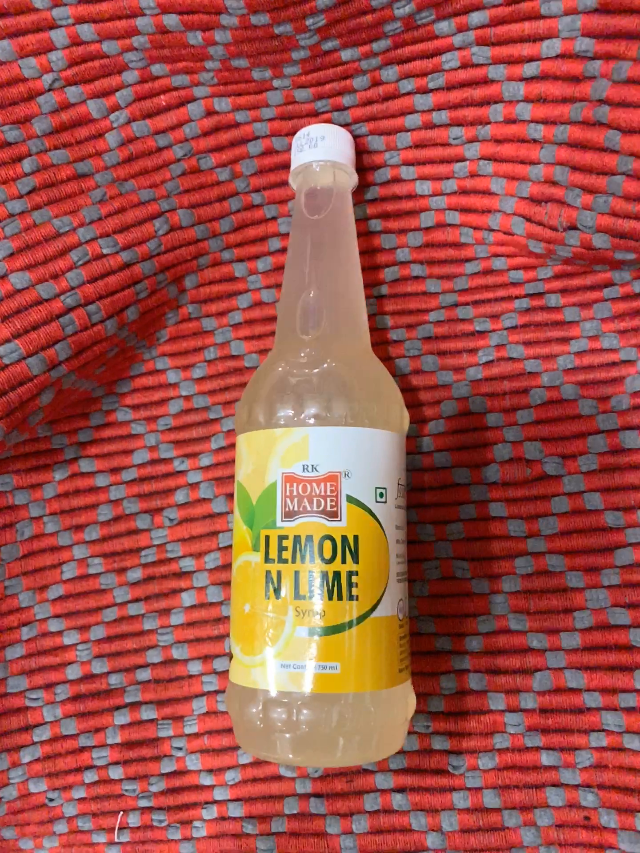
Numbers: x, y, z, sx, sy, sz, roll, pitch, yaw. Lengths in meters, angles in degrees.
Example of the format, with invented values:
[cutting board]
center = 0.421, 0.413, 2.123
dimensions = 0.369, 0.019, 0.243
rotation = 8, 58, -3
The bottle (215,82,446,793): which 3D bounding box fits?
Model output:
[bottle]
center = 0.011, -0.003, 0.278
dimensions = 0.070, 0.070, 0.260
rotation = -3, 75, 16
